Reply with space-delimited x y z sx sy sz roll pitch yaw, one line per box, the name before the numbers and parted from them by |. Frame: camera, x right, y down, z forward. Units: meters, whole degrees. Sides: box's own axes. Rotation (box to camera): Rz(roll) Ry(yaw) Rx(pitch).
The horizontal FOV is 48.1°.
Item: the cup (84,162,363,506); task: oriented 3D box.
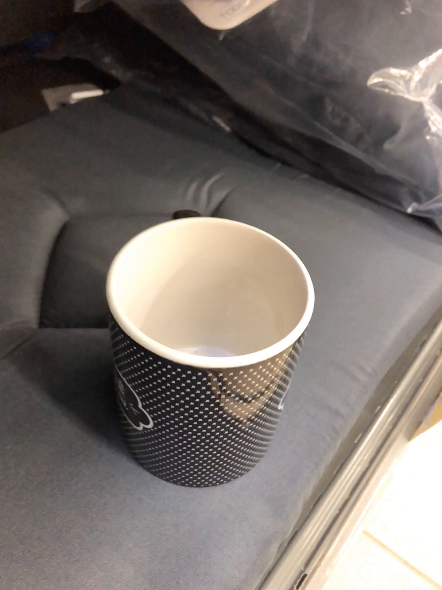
cup | -0.010 0.014 0.234 0.090 0.099 0.121 -3 46 -9
